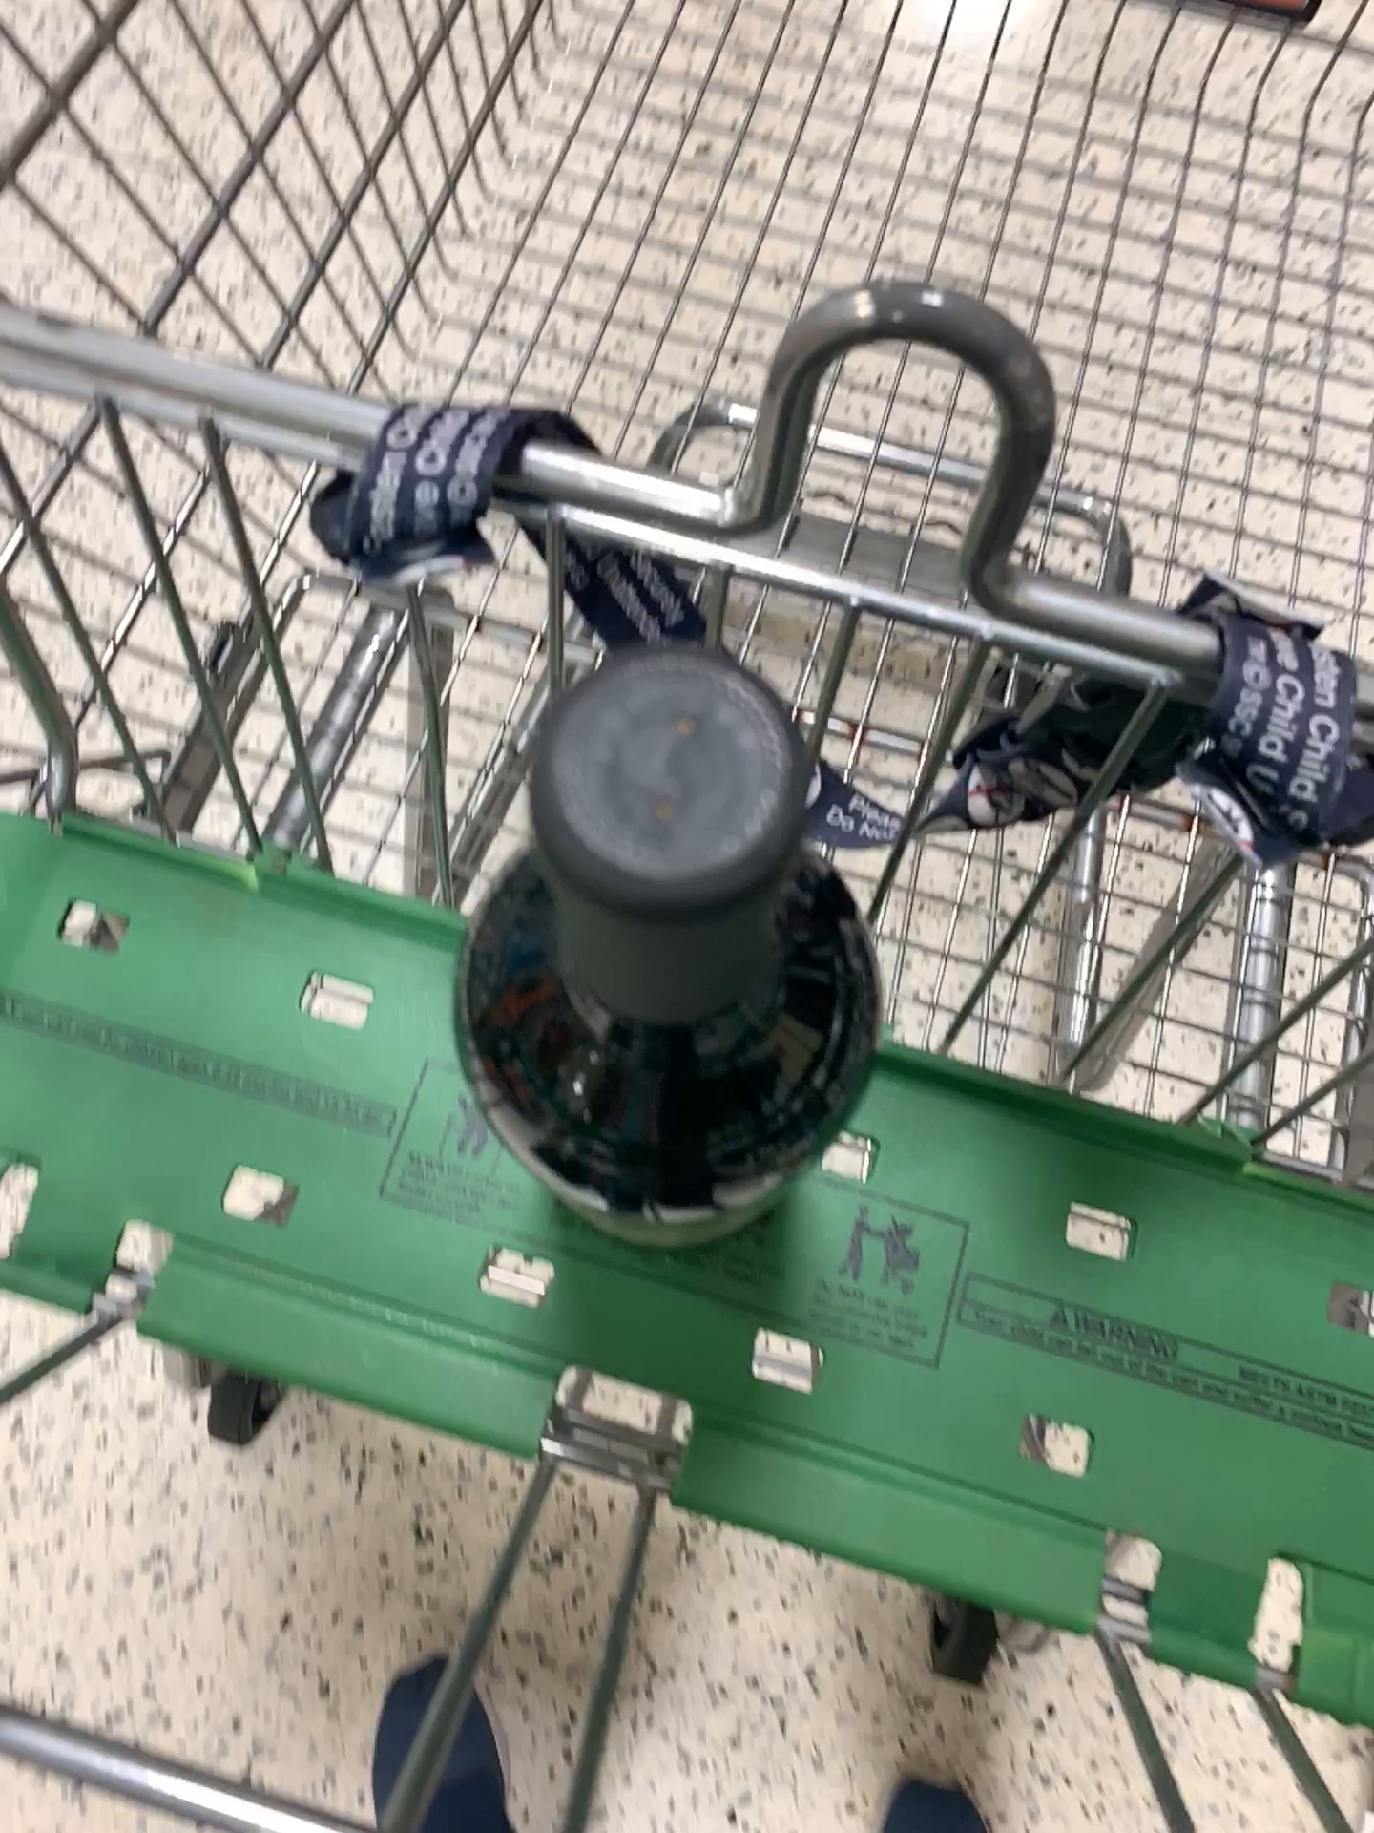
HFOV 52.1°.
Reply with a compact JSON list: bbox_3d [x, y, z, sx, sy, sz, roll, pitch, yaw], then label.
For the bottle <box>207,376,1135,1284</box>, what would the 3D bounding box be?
[{"bbox_3d":[-0.006,0.023,0.271,0.080,0.279,0.075,0,74,-1],"label":"bottle"}]
